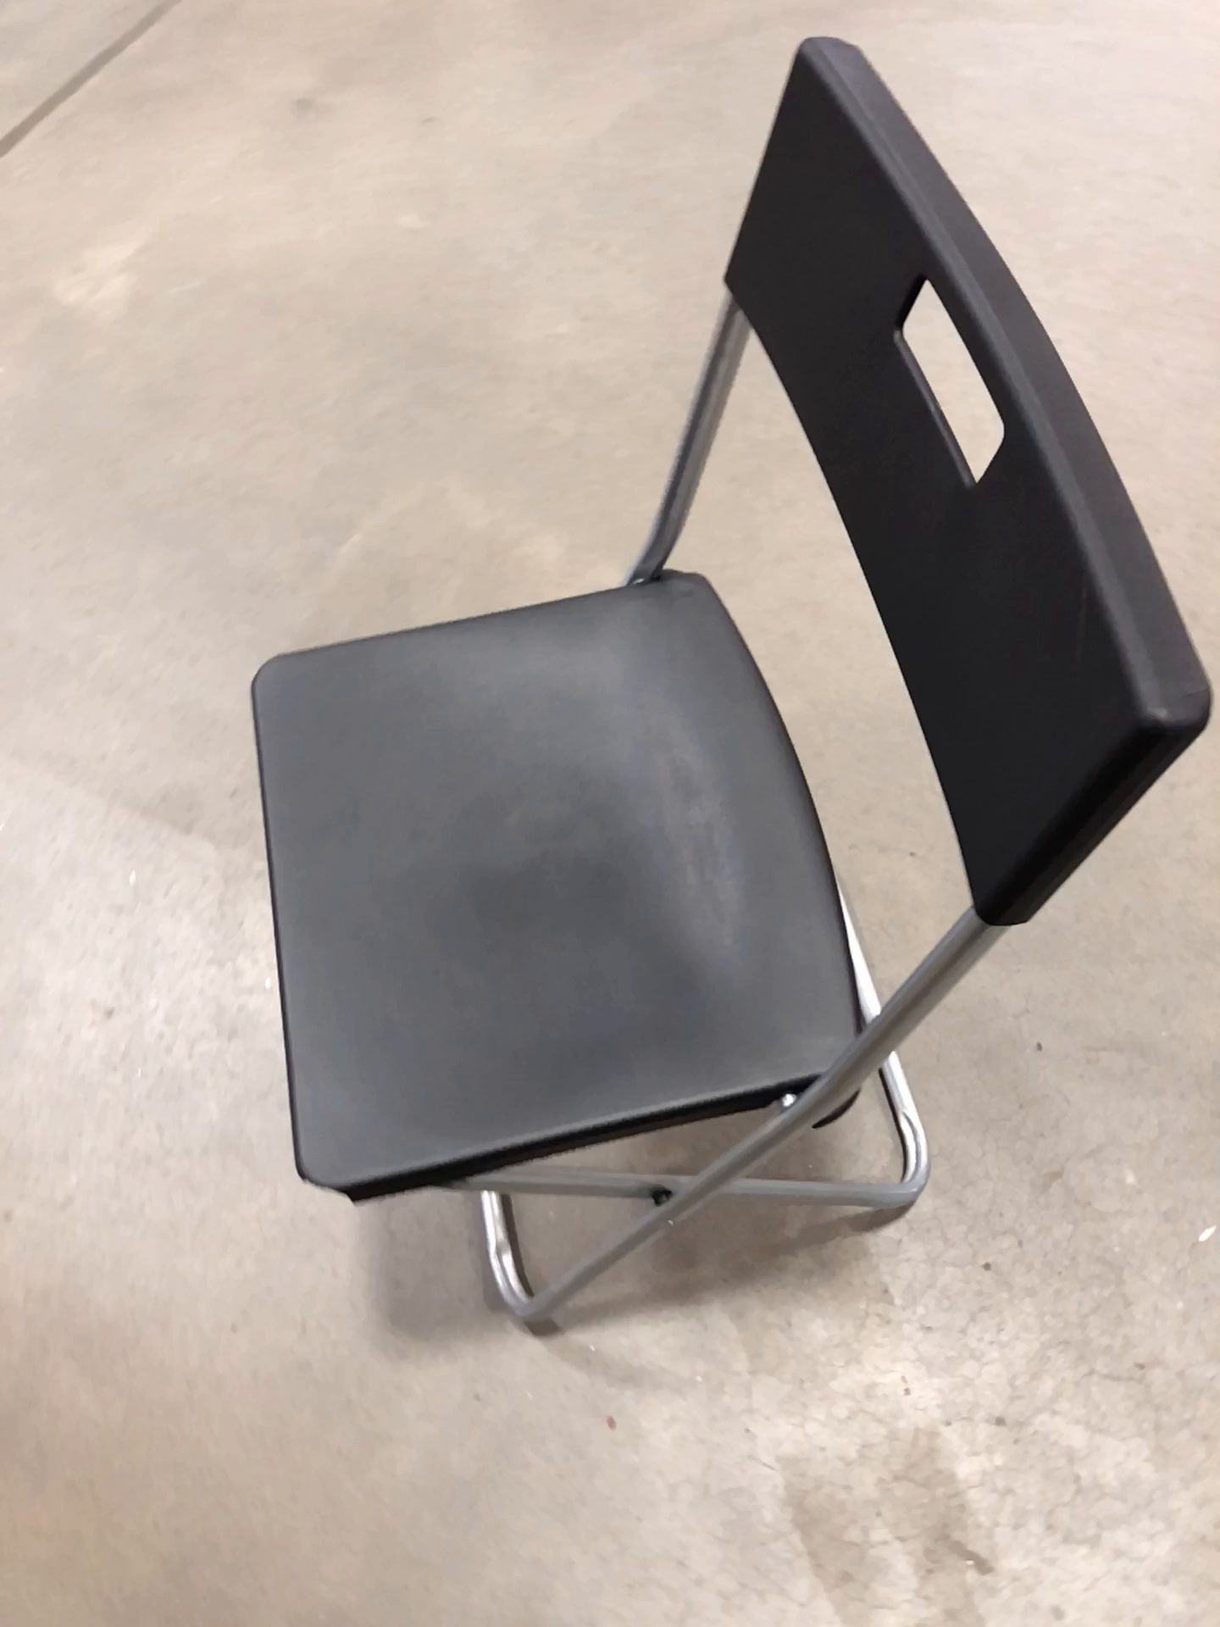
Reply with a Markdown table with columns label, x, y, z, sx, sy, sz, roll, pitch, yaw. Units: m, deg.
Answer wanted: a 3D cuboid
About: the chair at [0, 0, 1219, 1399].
| label | x | y | z | sx | sy | sz | roll | pitch | yaw |
| --- | --- | --- | --- | --- | --- | --- | --- | --- | --- |
| chair | 0.000 | 0.020 | 0.837 | 0.460 | 0.759 | 0.461 | -15 | 60 | -1 |
